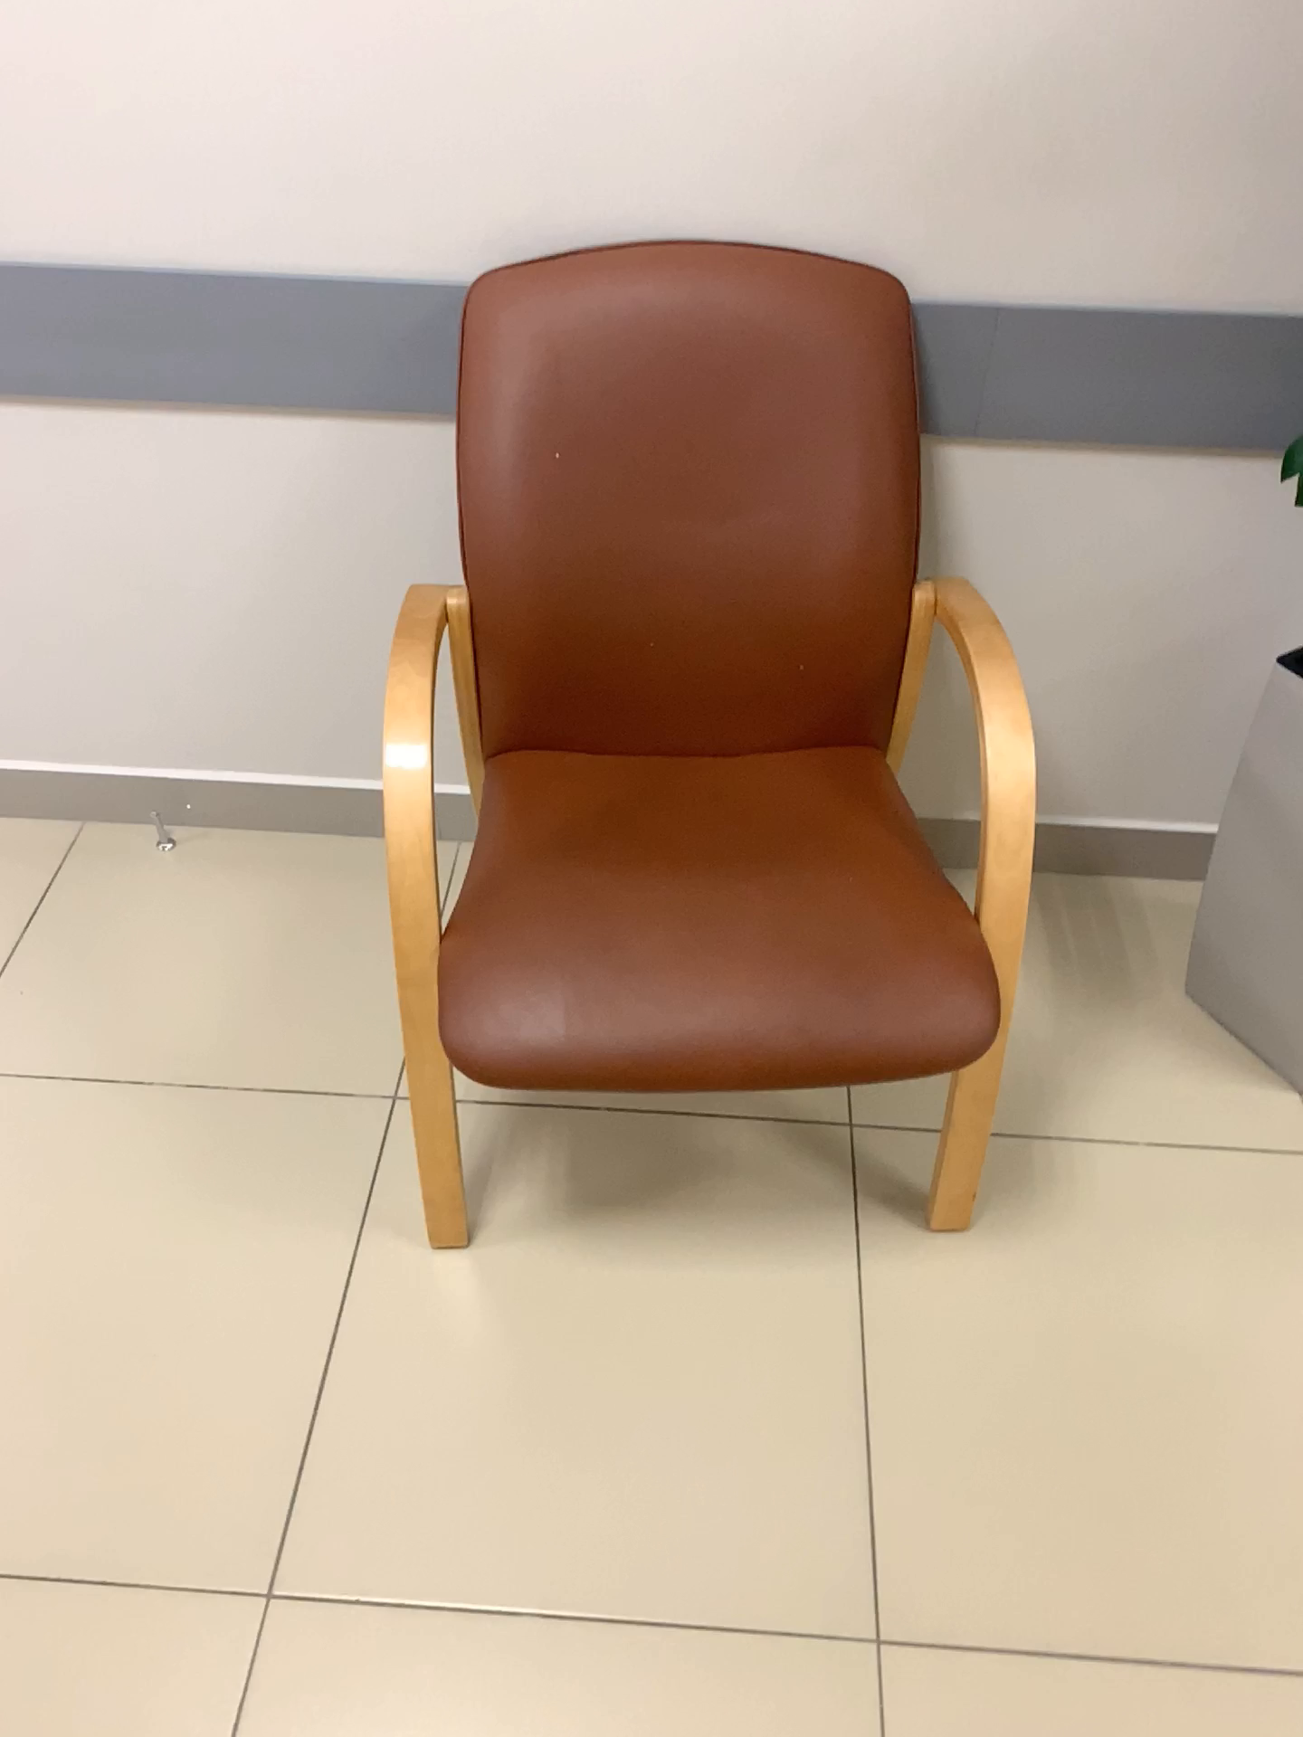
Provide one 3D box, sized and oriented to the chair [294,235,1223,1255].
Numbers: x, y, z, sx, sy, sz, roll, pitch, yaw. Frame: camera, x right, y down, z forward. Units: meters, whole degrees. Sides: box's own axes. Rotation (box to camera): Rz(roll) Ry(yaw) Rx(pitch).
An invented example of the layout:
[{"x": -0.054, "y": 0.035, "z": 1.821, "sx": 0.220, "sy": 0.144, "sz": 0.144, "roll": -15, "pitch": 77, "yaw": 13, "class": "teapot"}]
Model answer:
[{"x": 0.065, "y": -0.097, "z": 1.515, "sx": 0.670, "sy": 0.985, "sz": 0.603, "roll": -1, "pitch": 44, "yaw": -2, "class": "chair"}]
